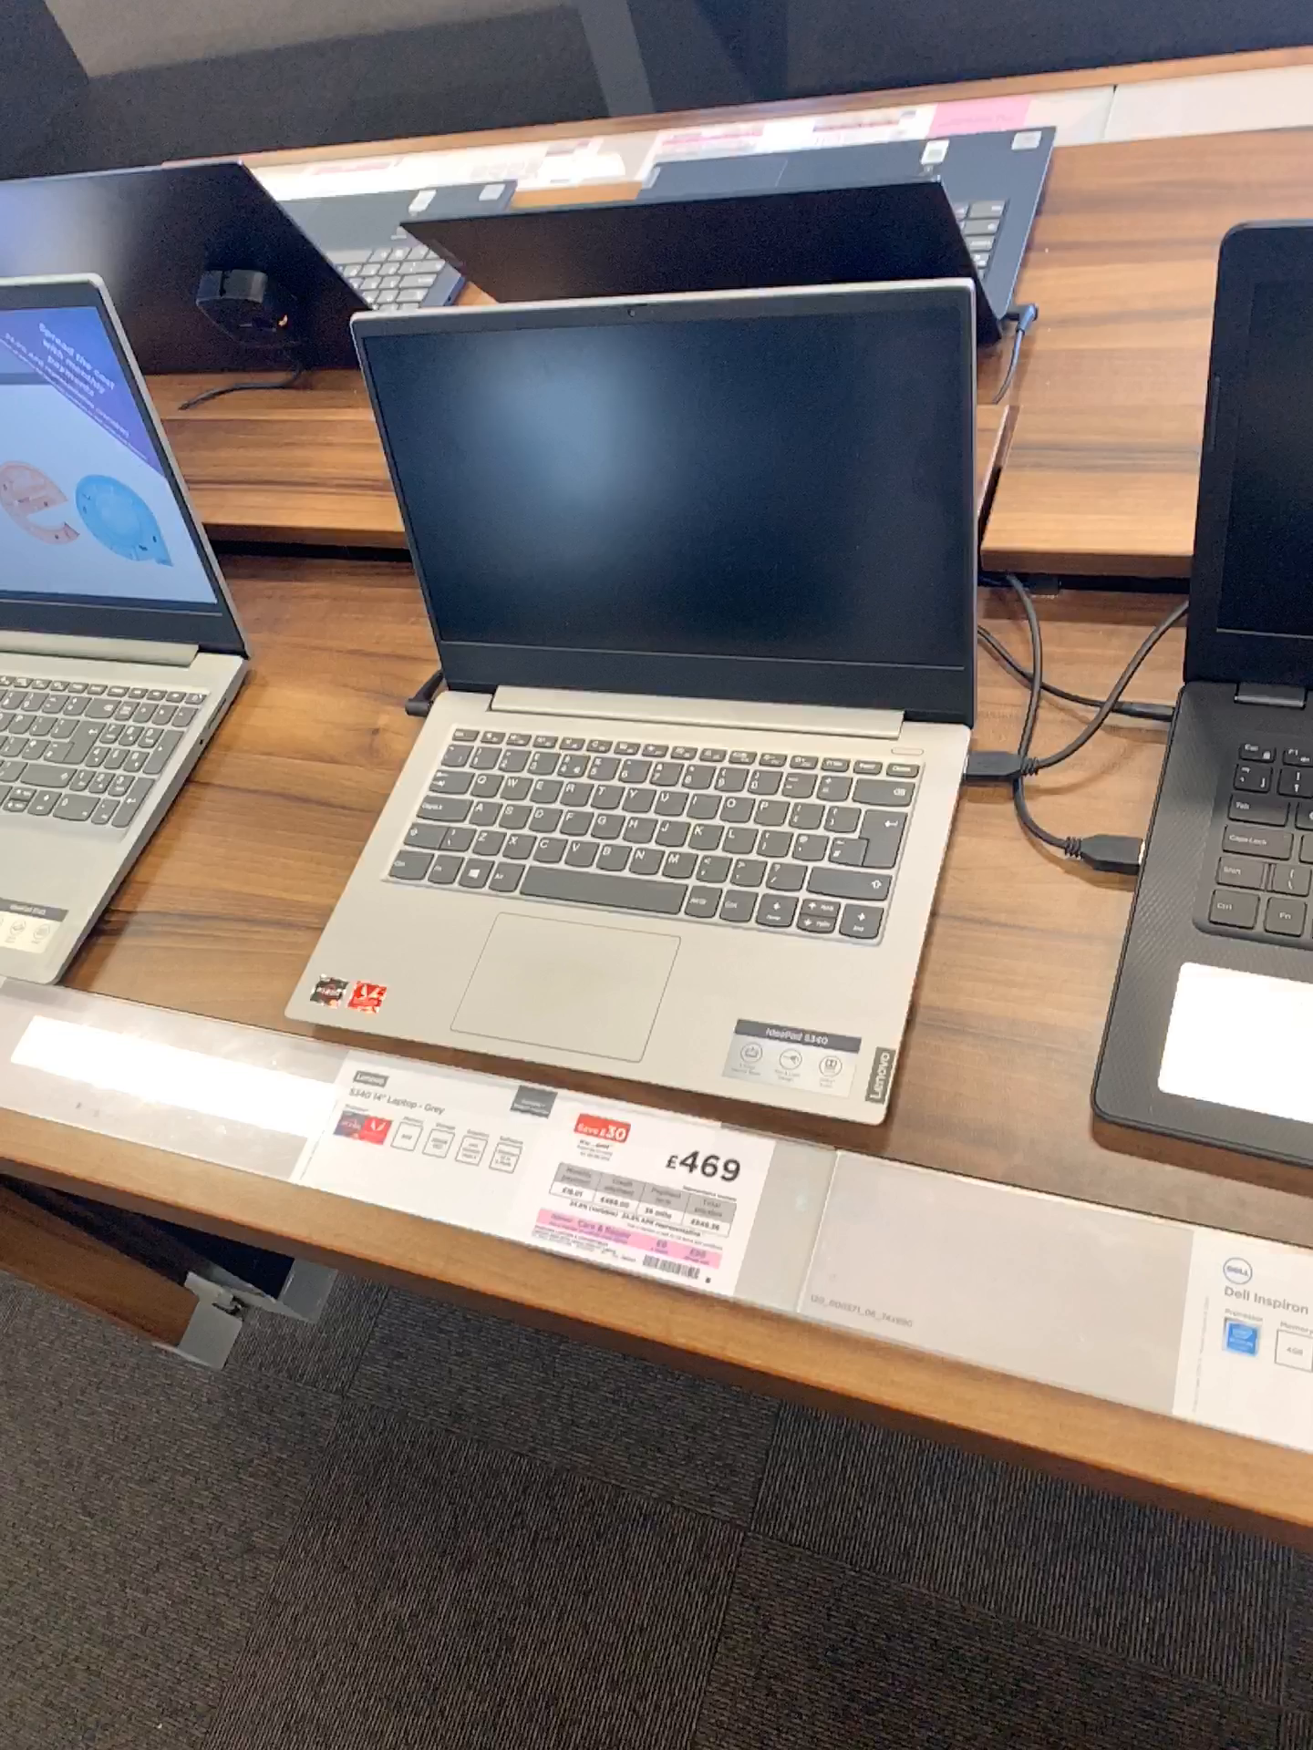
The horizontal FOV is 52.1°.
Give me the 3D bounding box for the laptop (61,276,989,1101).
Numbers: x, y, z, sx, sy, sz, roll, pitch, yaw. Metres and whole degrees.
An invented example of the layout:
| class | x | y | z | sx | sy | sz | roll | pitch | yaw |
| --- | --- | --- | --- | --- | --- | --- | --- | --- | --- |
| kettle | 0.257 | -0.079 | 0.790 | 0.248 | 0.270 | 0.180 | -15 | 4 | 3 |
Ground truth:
| class | x | y | z | sx | sy | sz | roll | pitch | yaw |
| --- | --- | --- | --- | --- | --- | --- | --- | --- | --- |
| laptop | -0.033 | -0.098 | 0.642 | 0.316 | 0.199 | 0.295 | 7 | 59 | 23 |
